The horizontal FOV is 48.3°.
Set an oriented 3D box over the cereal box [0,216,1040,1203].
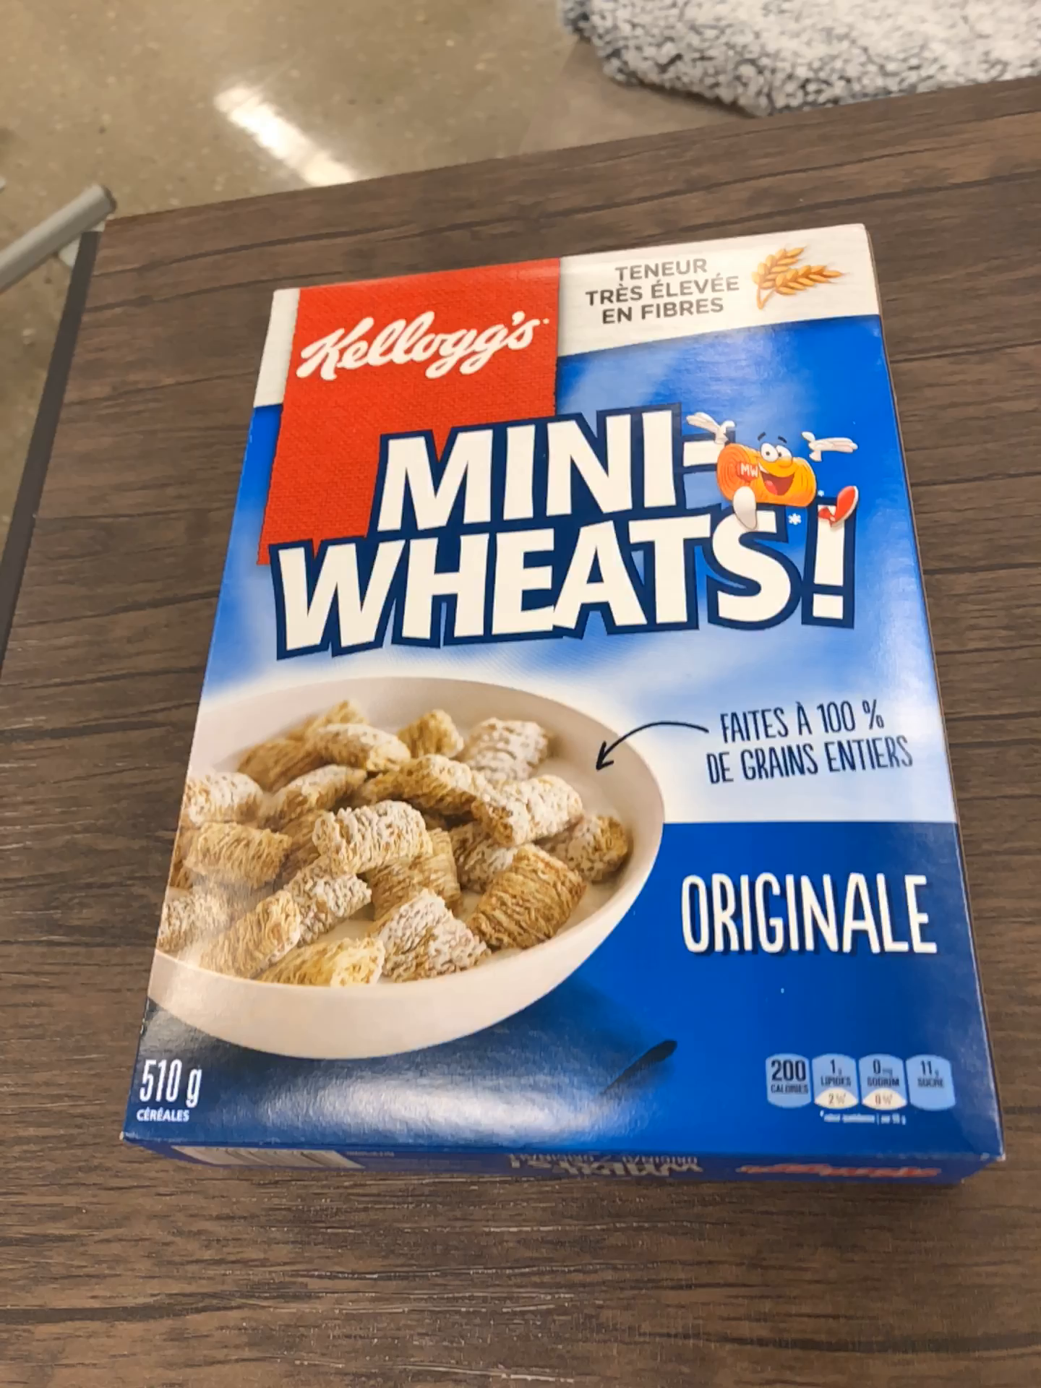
[{"bbox_3d":[0.000,-0.008,0.331,0.230,0.060,0.270,-2,60,10],"label":"cereal box"}]
